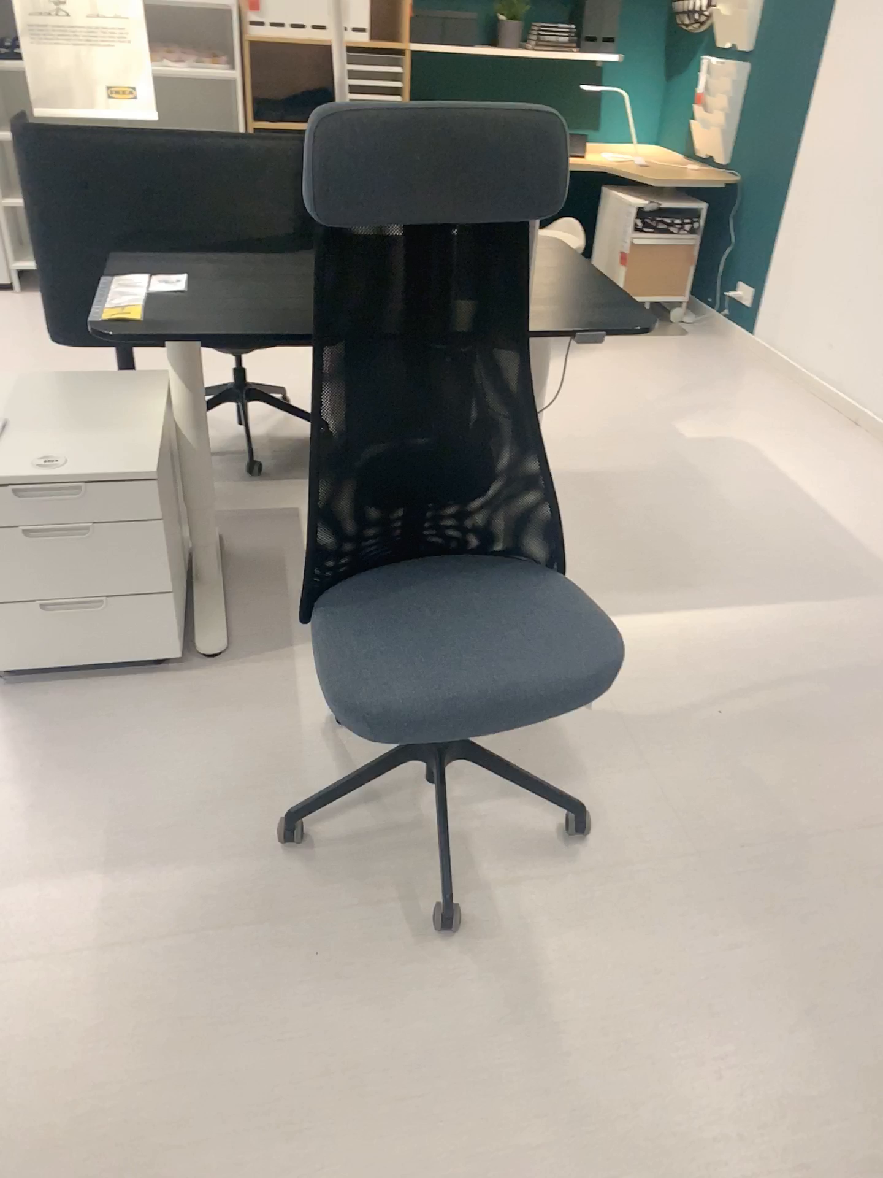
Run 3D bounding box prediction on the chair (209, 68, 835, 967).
[{"bbox_3d":[0.000,-0.123,1.580,0.640,1.304,0.733,-7,34,-16],"label":"chair"}]
